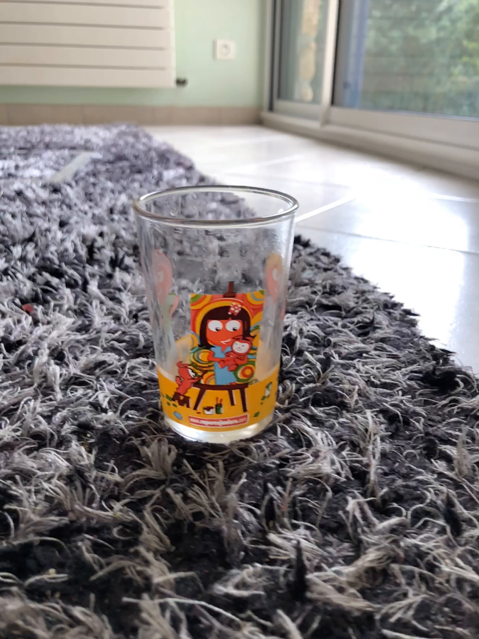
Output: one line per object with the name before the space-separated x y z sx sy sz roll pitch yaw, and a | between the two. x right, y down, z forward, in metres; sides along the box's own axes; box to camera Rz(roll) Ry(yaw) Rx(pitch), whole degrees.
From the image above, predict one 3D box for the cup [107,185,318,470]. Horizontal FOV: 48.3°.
cup | -0.012 -0.001 0.228 0.070 0.099 0.070 1 23 0
